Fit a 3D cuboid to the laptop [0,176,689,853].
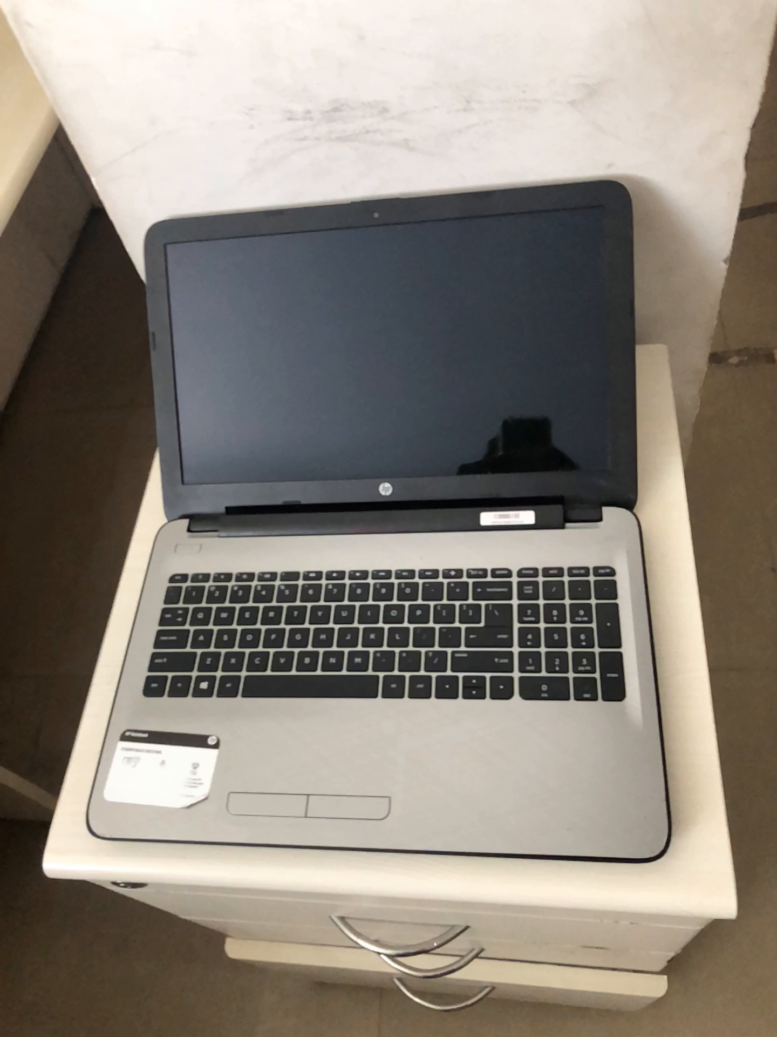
[{"bbox_3d":[-0.015,-0.018,0.587,0.361,0.136,0.427,-2,58,10],"label":"laptop"}]
